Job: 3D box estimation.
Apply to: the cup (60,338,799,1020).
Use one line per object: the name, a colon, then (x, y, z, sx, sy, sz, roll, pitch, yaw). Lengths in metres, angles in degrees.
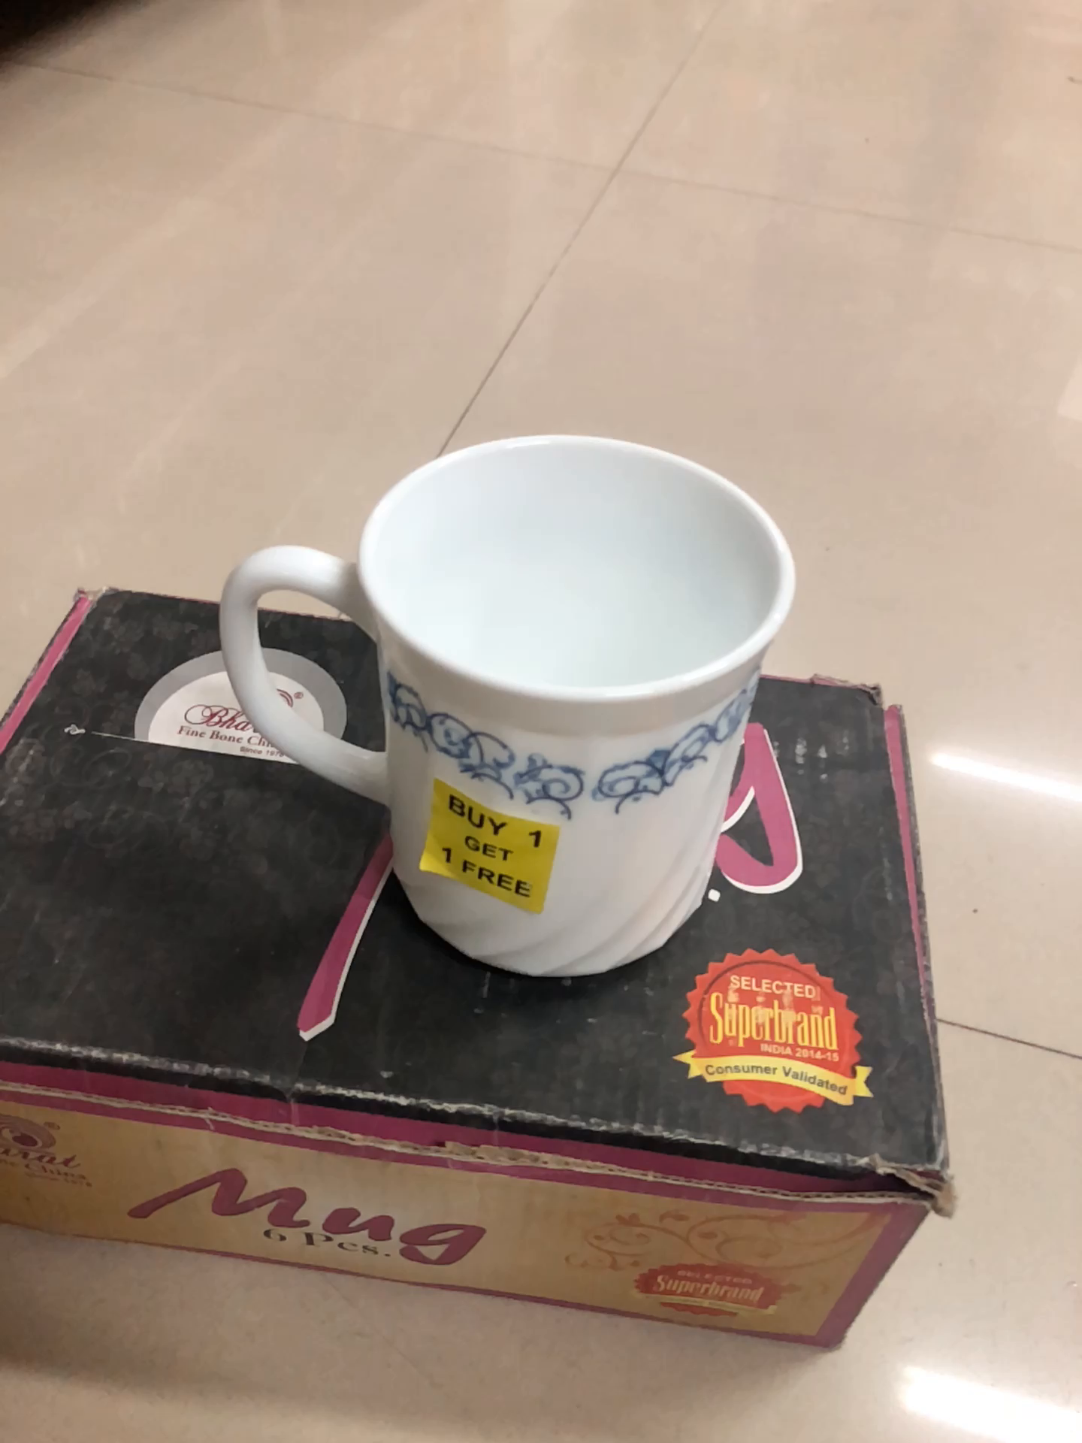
cup: (-0.015, -0.010, 0.256, 0.120, 0.089, 0.091, 10, 45, 4)
